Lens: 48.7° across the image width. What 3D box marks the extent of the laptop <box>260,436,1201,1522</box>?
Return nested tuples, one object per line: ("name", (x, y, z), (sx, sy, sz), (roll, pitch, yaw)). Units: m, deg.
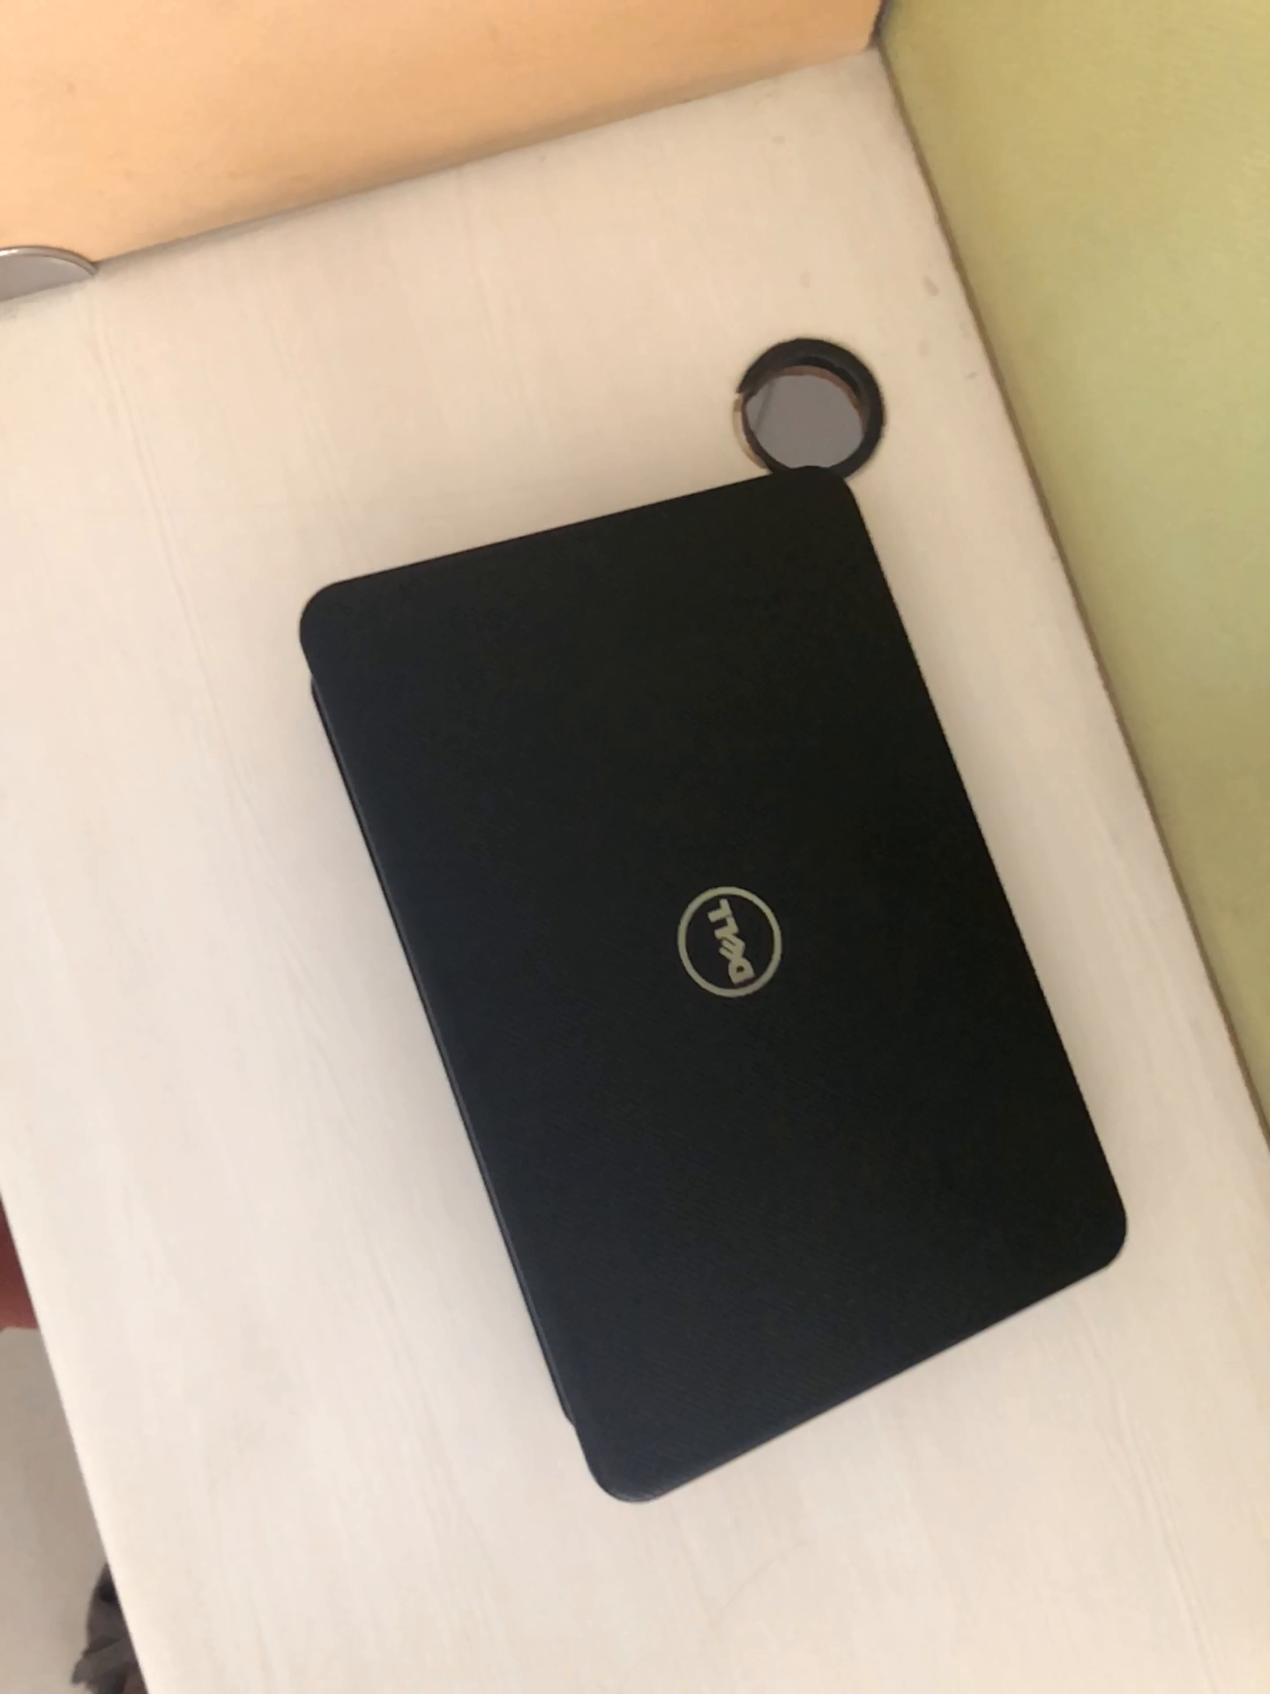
("laptop", (0.033, 0.046, 0.570), (0.246, 0.079, 0.353), (-19, 86, -3))
